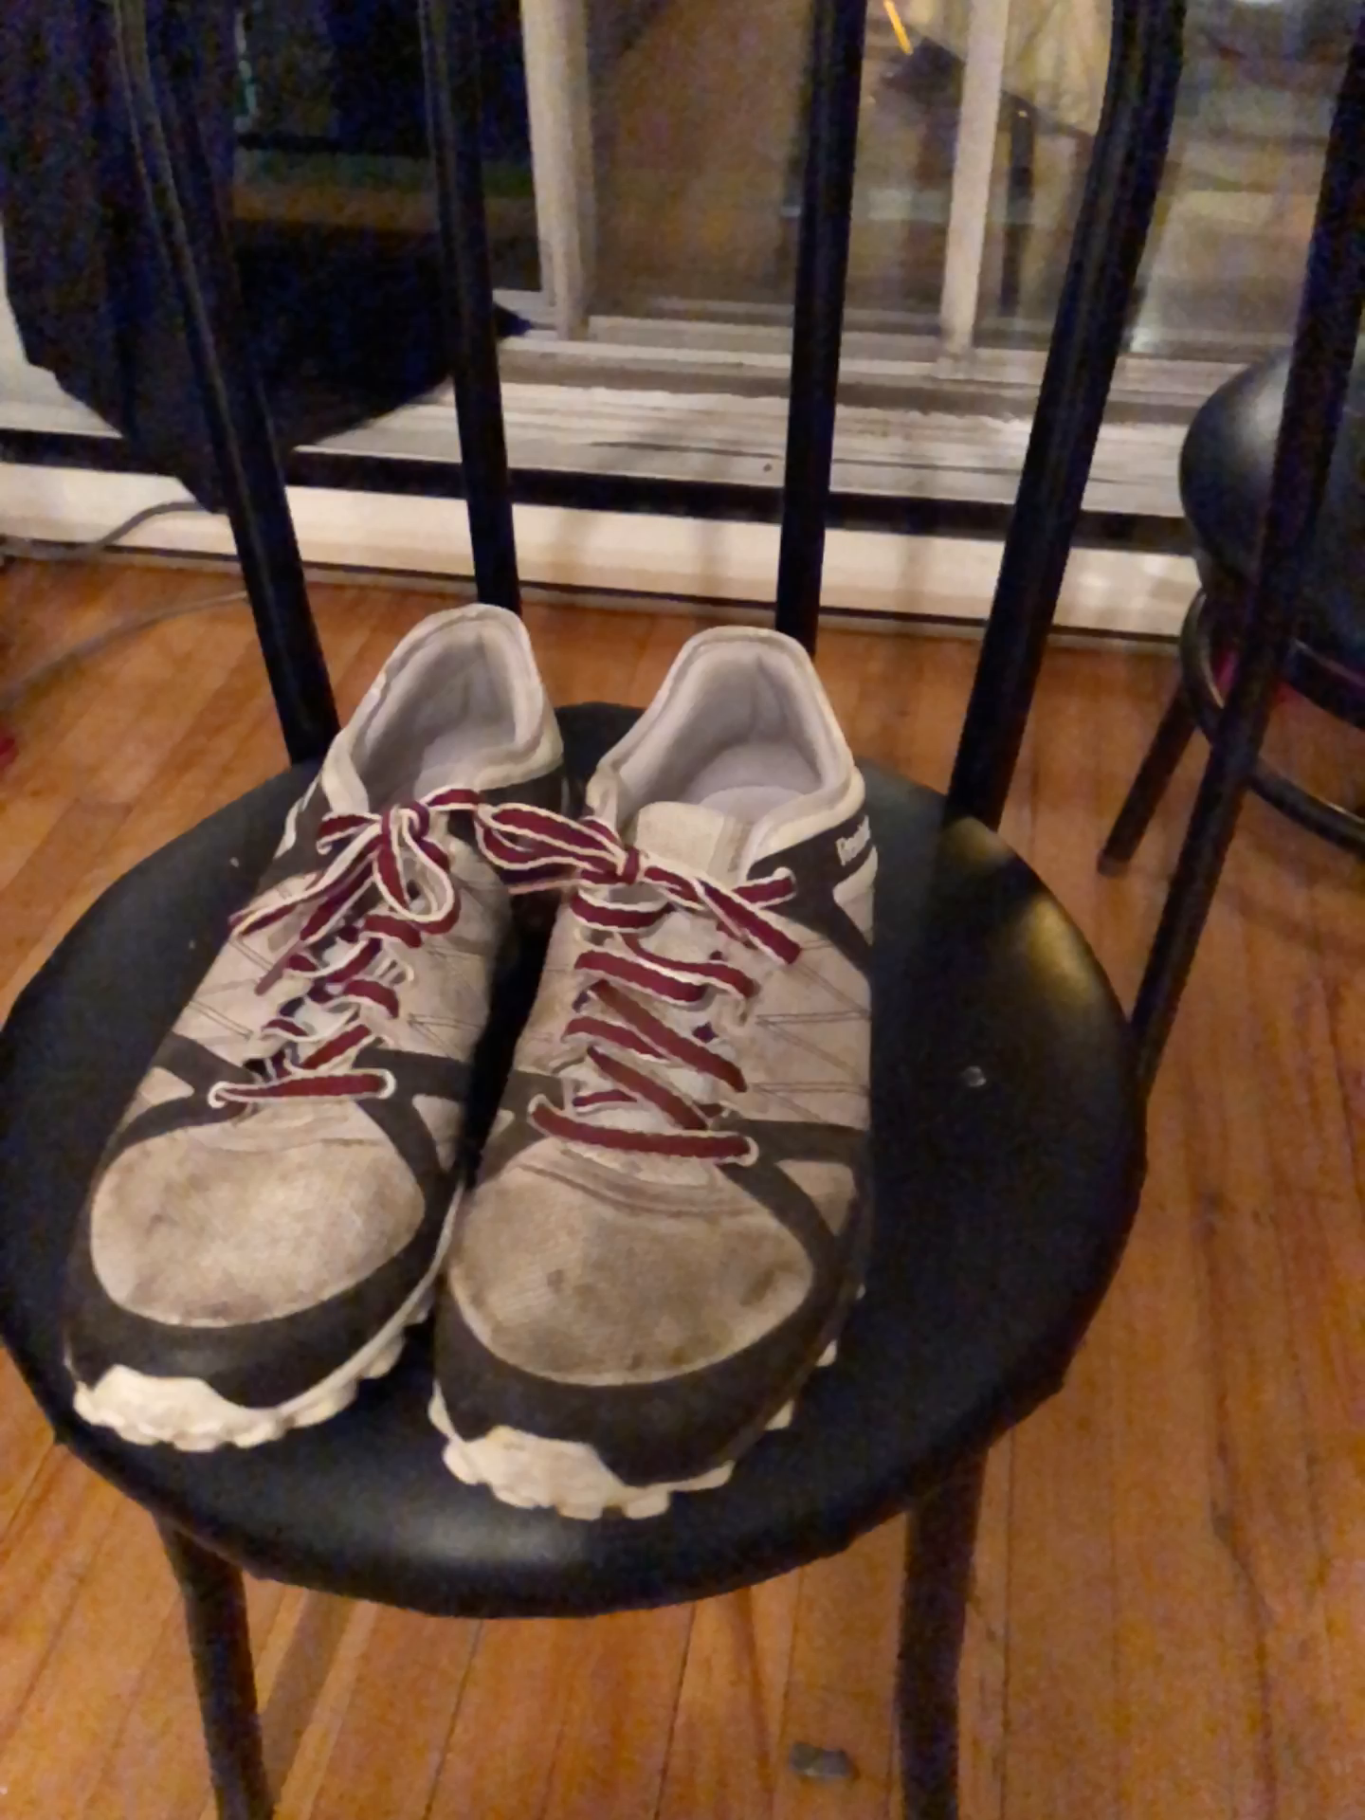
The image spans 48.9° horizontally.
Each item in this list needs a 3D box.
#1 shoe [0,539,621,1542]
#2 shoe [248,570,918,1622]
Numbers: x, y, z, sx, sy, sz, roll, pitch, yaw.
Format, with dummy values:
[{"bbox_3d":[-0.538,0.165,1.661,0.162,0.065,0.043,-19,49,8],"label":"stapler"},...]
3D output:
[{"bbox_3d":[-0.102,0.011,0.462,0.100,0.099,0.312,6,43,8],"label":"shoe"},{"bbox_3d":[-0.004,0.025,0.452,0.120,0.099,0.312,6,43,8],"label":"shoe"}]
